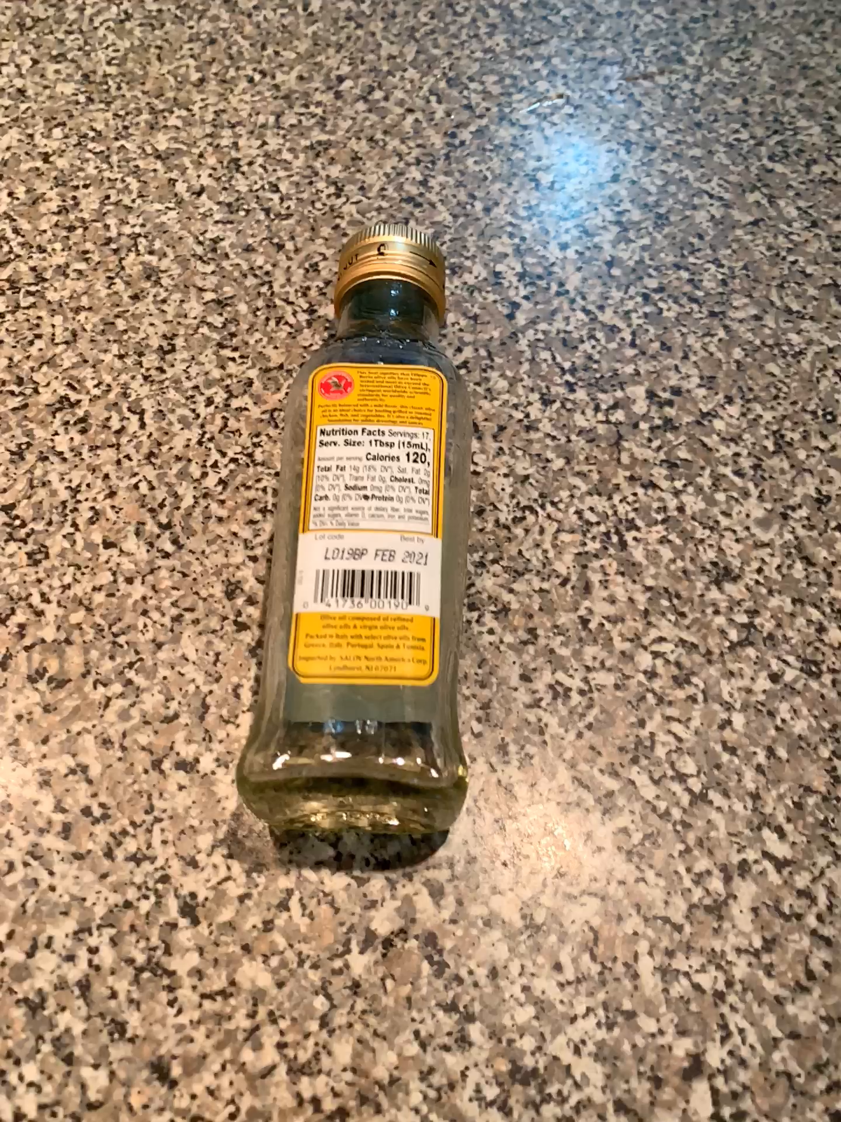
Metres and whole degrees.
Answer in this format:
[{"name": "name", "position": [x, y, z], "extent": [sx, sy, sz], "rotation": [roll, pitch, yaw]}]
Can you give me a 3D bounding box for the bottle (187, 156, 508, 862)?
[{"name": "bottle", "position": [-0.012, -0.020, 0.231], "extent": [0.060, 0.060, 0.181], "rotation": [2, 62, -1]}]
